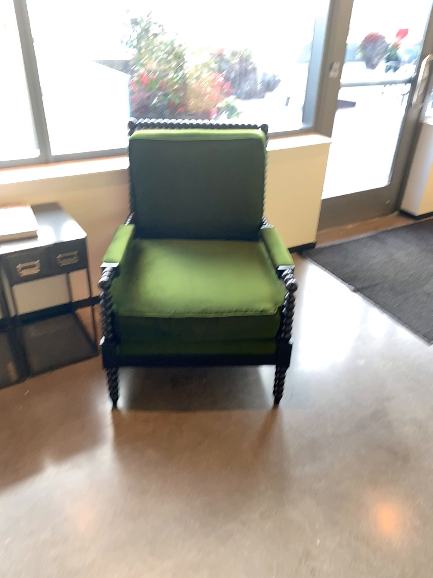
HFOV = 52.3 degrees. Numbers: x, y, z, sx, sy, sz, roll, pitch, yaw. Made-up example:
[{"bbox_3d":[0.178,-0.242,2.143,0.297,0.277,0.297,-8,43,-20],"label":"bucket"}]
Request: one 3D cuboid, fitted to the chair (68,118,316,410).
[{"bbox_3d":[-0.102,-0.154,2.005,0.760,0.984,0.926,1,32,-3],"label":"chair"}]
